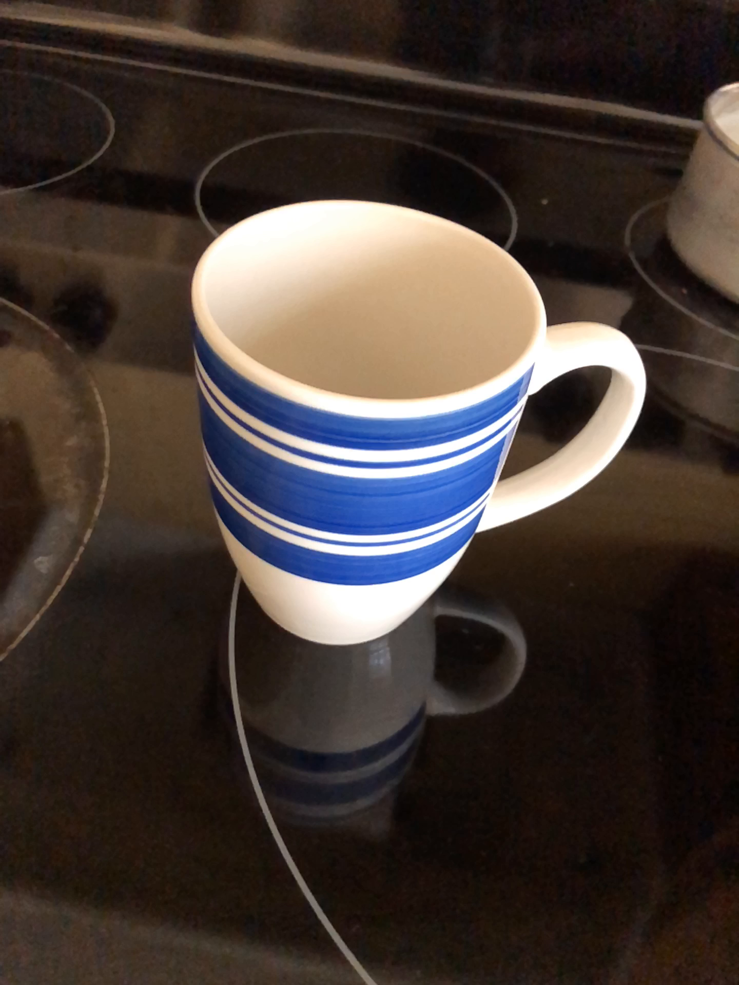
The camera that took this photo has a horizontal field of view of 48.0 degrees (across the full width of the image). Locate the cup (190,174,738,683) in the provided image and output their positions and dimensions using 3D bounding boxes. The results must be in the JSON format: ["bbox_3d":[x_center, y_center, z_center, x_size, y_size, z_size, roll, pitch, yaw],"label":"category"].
[{"bbox_3d":[0.021,-0.018,0.210,0.120,0.090,0.080,-5,48,-12],"label":"cup"}]
